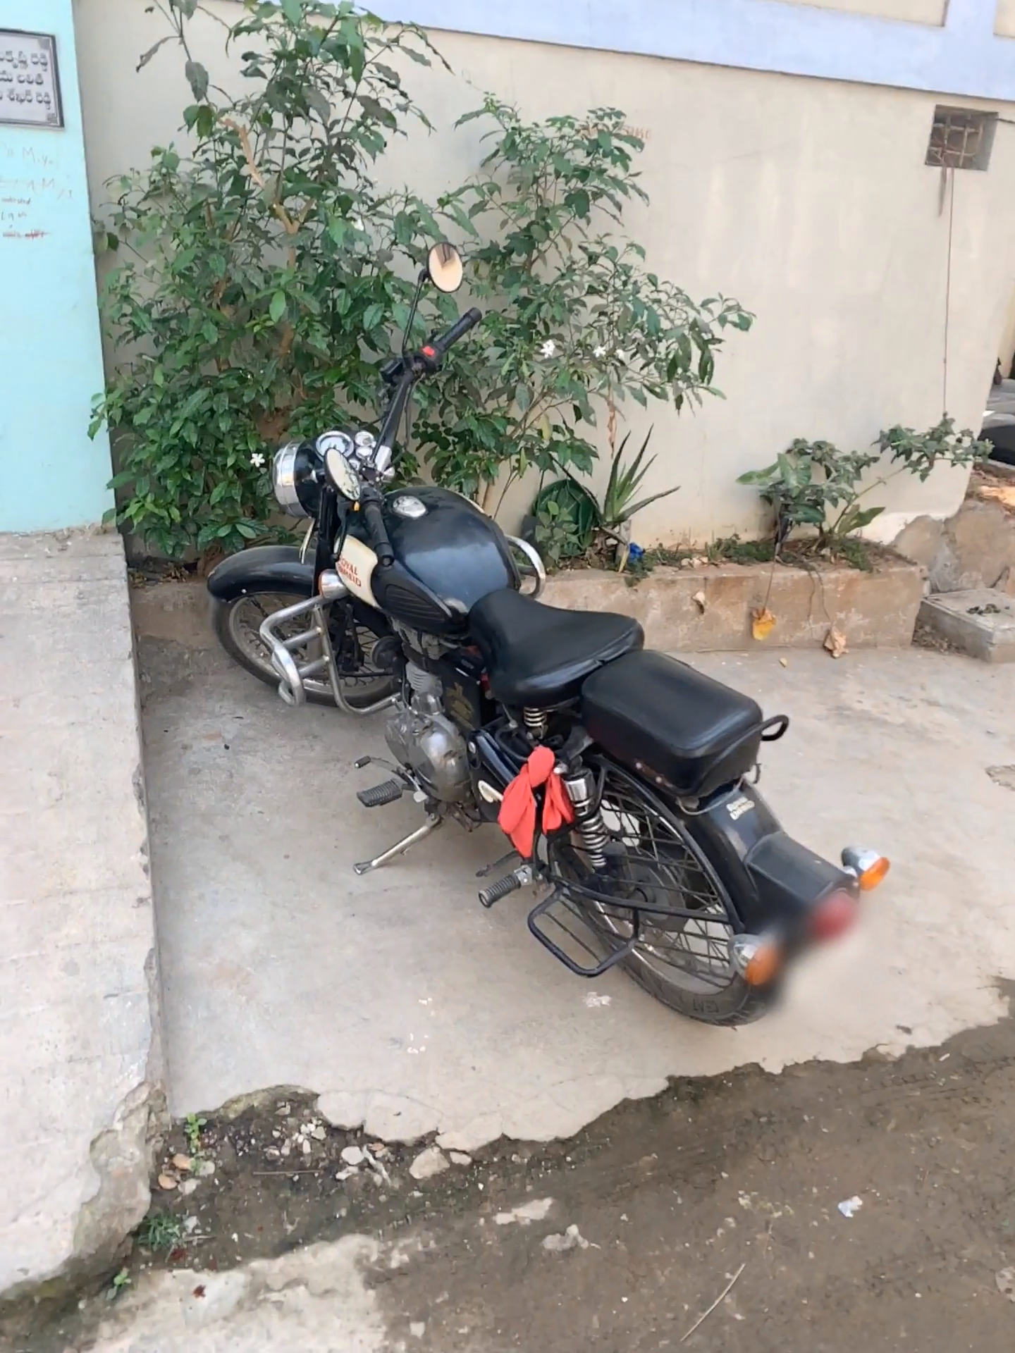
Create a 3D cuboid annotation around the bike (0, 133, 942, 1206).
[{"bbox_3d":[-0.215,-0.207,2.216,1.791,1.341,0.747,28,32,33],"label":"bike"}]
